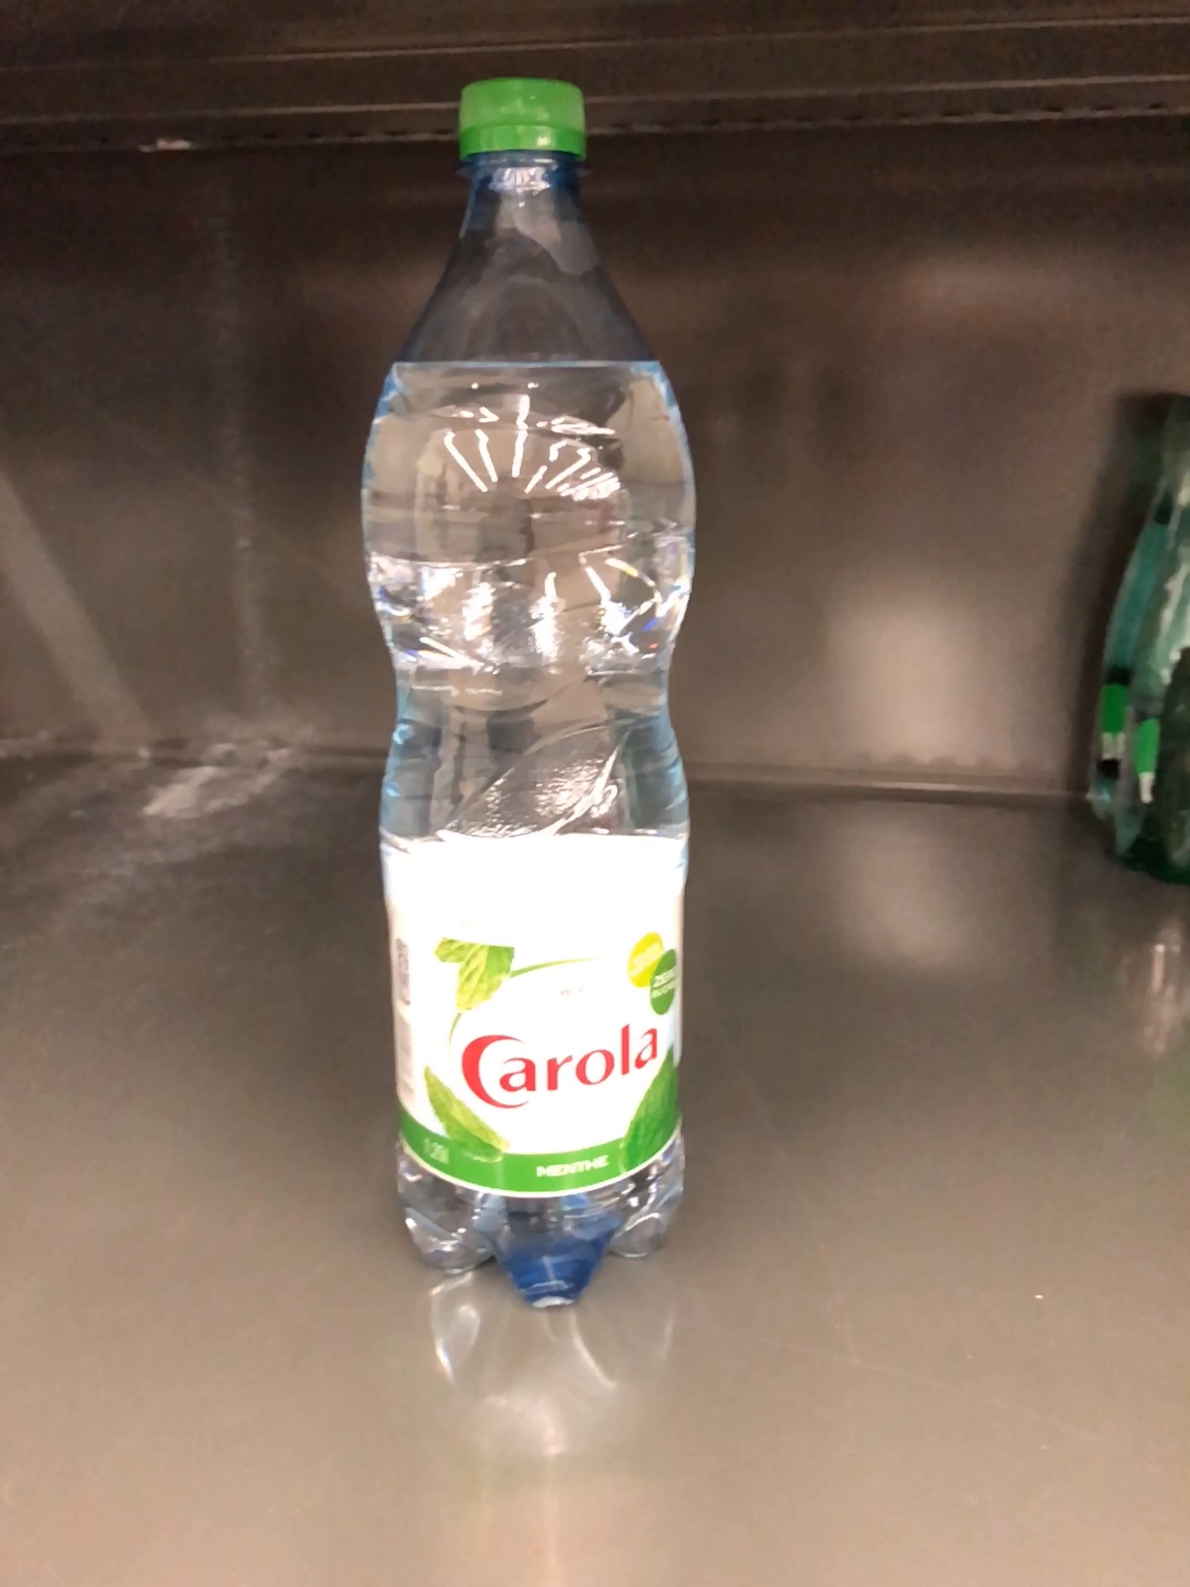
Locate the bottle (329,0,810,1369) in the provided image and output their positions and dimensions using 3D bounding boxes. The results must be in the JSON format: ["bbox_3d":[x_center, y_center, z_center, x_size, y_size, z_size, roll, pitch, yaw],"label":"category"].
[{"bbox_3d":[-0.012,-0.022,0.371,0.100,0.339,0.100,0,17,0],"label":"bottle"}]
